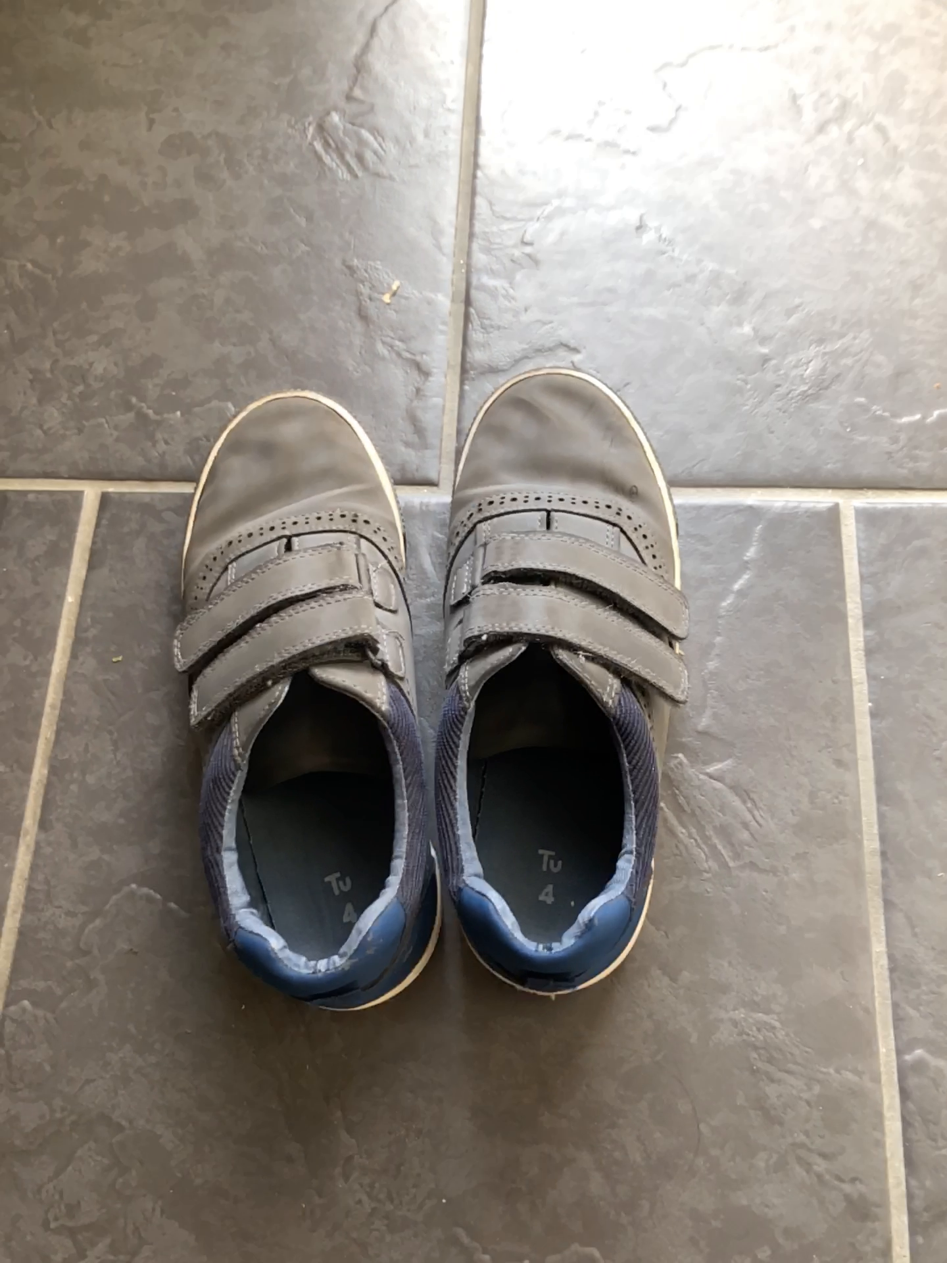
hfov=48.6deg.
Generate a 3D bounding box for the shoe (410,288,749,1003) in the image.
[{"bbox_3d":[0.035,0.003,0.385,0.100,0.070,0.250,-1,71,4],"label":"shoe"}]

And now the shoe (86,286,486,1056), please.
[{"bbox_3d":[-0.070,0.009,0.379,0.100,0.070,0.251,-11,70,1],"label":"shoe"}]
